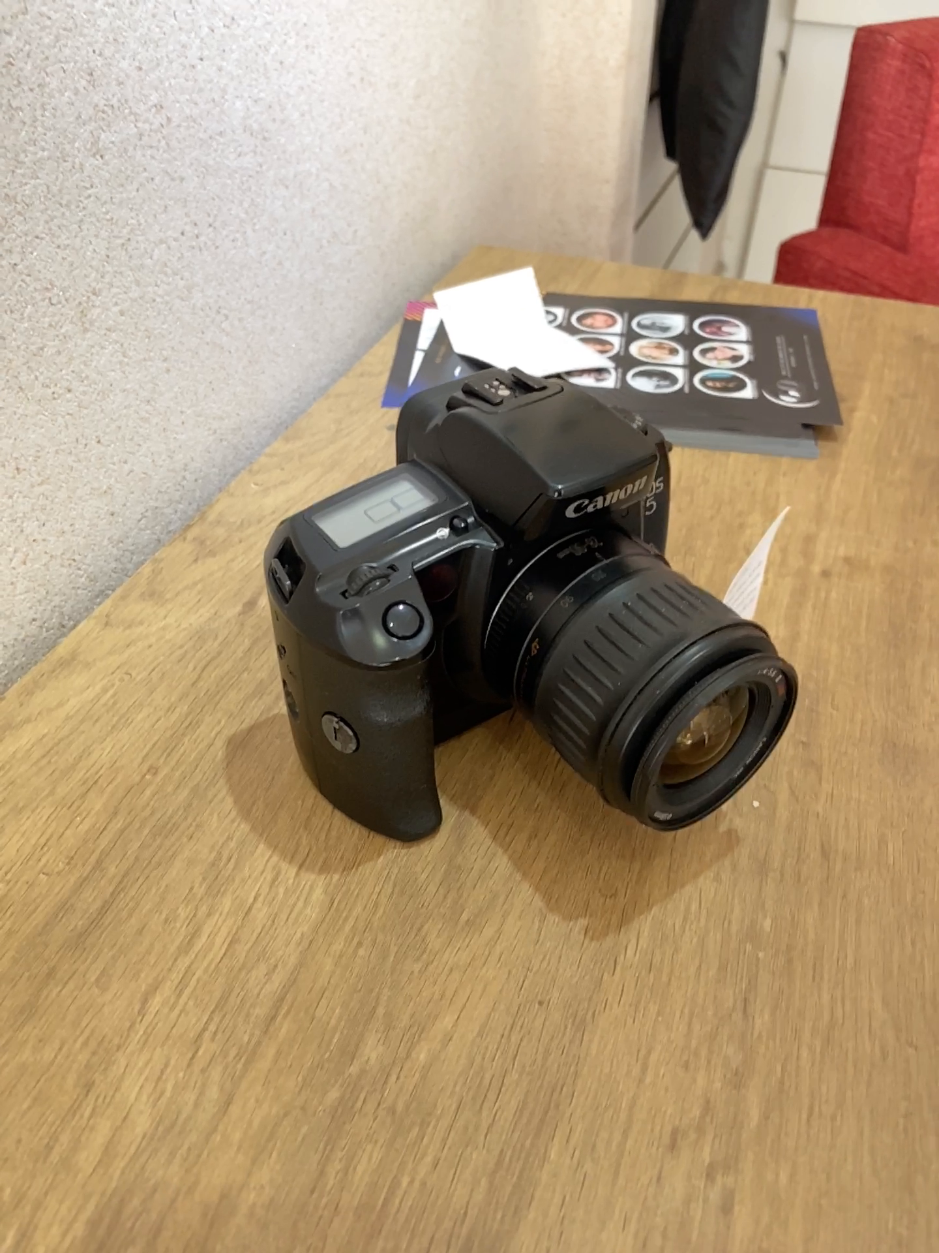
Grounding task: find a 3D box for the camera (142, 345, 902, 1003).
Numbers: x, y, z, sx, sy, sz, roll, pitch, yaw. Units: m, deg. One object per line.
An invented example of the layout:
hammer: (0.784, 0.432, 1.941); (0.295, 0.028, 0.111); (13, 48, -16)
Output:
camera: (0.010, -0.007, 0.331); (0.161, 0.079, 0.181); (-27, 47, -28)
